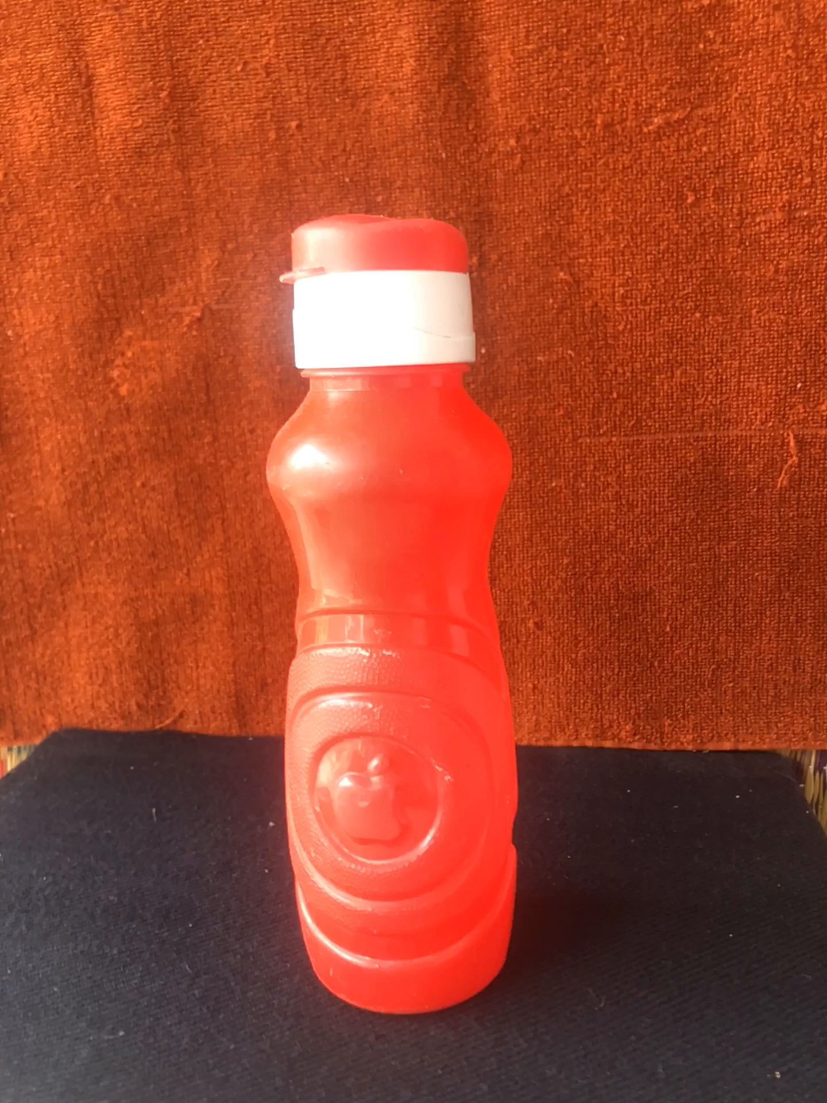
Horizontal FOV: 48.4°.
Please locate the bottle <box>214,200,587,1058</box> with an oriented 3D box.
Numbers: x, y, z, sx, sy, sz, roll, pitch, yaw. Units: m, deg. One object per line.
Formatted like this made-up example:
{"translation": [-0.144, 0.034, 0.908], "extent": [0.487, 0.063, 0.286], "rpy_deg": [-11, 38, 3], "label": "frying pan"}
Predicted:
{"translation": [0.003, 0.020, 0.268], "extent": [0.080, 0.219, 0.070], "rpy_deg": [3, 15, 17], "label": "bottle"}
